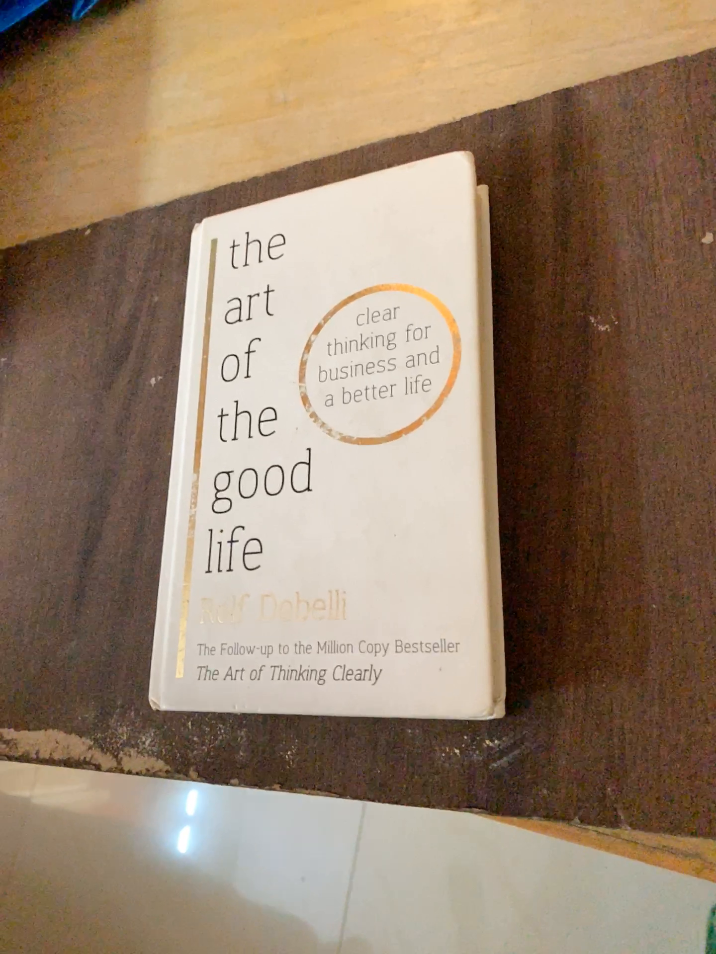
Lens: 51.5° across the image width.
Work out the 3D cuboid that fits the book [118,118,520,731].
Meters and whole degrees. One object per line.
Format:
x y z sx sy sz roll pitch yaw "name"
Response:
-0.012 -0.015 0.247 0.117 0.037 0.180 -5 74 23 "book"
